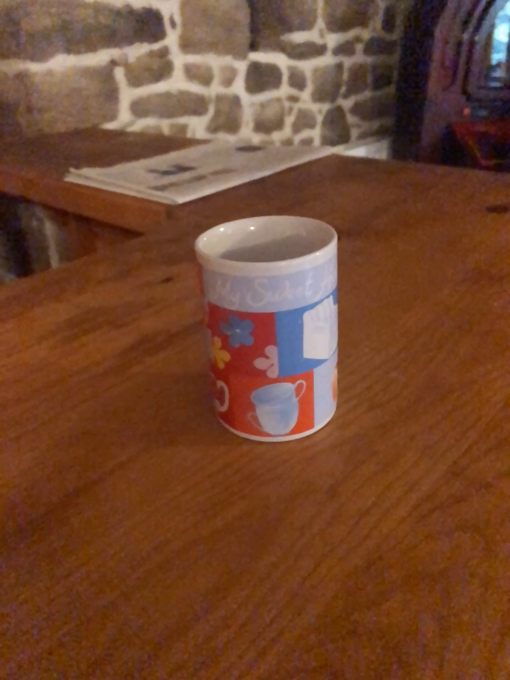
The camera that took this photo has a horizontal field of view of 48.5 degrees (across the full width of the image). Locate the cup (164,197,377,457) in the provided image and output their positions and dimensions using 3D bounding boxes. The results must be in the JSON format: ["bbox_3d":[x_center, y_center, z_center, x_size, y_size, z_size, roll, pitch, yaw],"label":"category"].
[{"bbox_3d":[0.003,-0.016,0.323,0.080,0.099,0.112,-11,29,-15],"label":"cup"}]
